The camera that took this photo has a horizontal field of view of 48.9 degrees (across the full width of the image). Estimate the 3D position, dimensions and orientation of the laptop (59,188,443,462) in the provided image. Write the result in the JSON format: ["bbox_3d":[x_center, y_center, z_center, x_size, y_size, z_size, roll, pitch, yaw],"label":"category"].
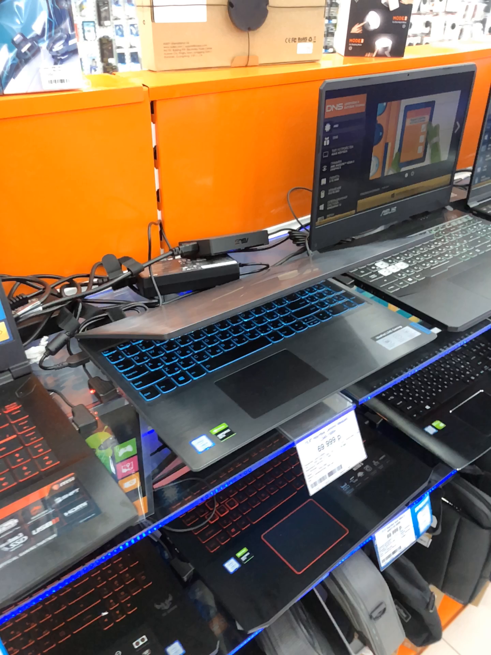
[{"bbox_3d":[0.010,-0.038,0.625,0.348,0.117,0.241,-23,40,-32],"label":"laptop"}]

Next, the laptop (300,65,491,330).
[{"bbox_3d":[0.318,-0.228,0.811,0.384,0.250,0.278,-21,39,-32],"label":"laptop"}]

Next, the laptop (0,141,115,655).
[{"bbox_3d":[-0.343,0.037,0.370,0.349,0.228,0.326,-22,39,-35],"label":"laptop"}]
